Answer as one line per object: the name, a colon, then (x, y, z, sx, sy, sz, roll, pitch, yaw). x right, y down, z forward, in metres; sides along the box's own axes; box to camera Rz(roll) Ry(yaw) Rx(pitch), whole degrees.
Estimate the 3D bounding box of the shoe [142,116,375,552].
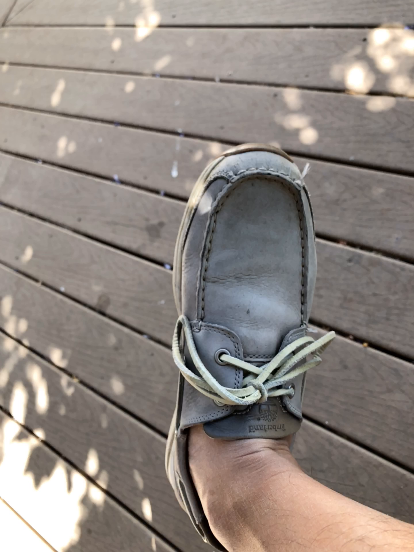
shoe: (0.028, 0.063, 0.349, 0.083, 0.116, 0.326, -153, 67, -67)
